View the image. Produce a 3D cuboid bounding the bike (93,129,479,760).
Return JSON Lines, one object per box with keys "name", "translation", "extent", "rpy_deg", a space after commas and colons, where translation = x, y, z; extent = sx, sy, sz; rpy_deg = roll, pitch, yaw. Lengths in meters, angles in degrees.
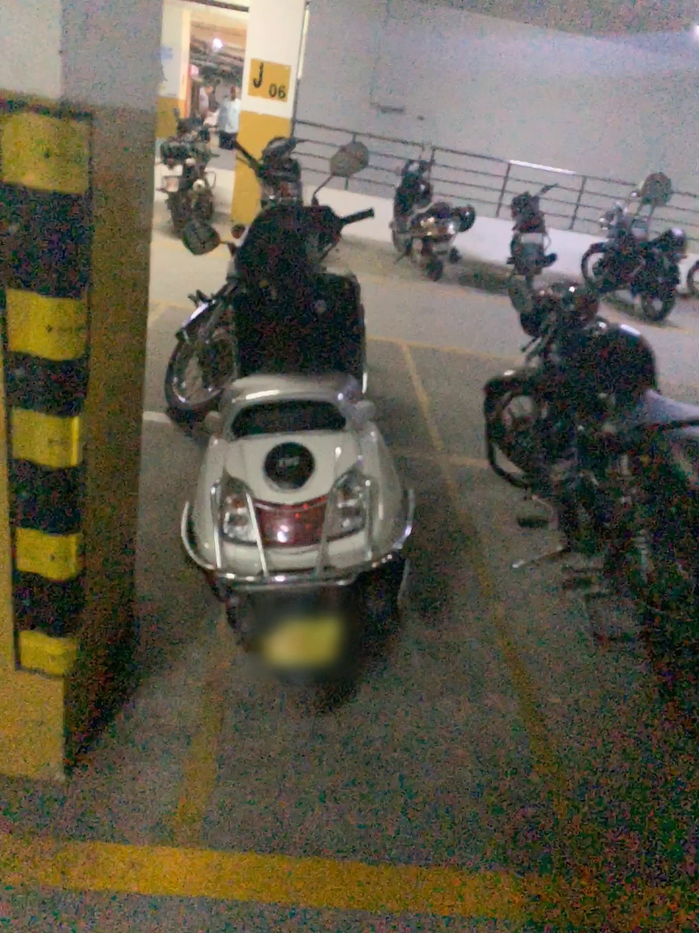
{"name": "bike", "translation": [-0.233, -0.239, 2.113], "extent": [0.647, 1.158, 1.539], "rpy_deg": [7, 28, -8]}
